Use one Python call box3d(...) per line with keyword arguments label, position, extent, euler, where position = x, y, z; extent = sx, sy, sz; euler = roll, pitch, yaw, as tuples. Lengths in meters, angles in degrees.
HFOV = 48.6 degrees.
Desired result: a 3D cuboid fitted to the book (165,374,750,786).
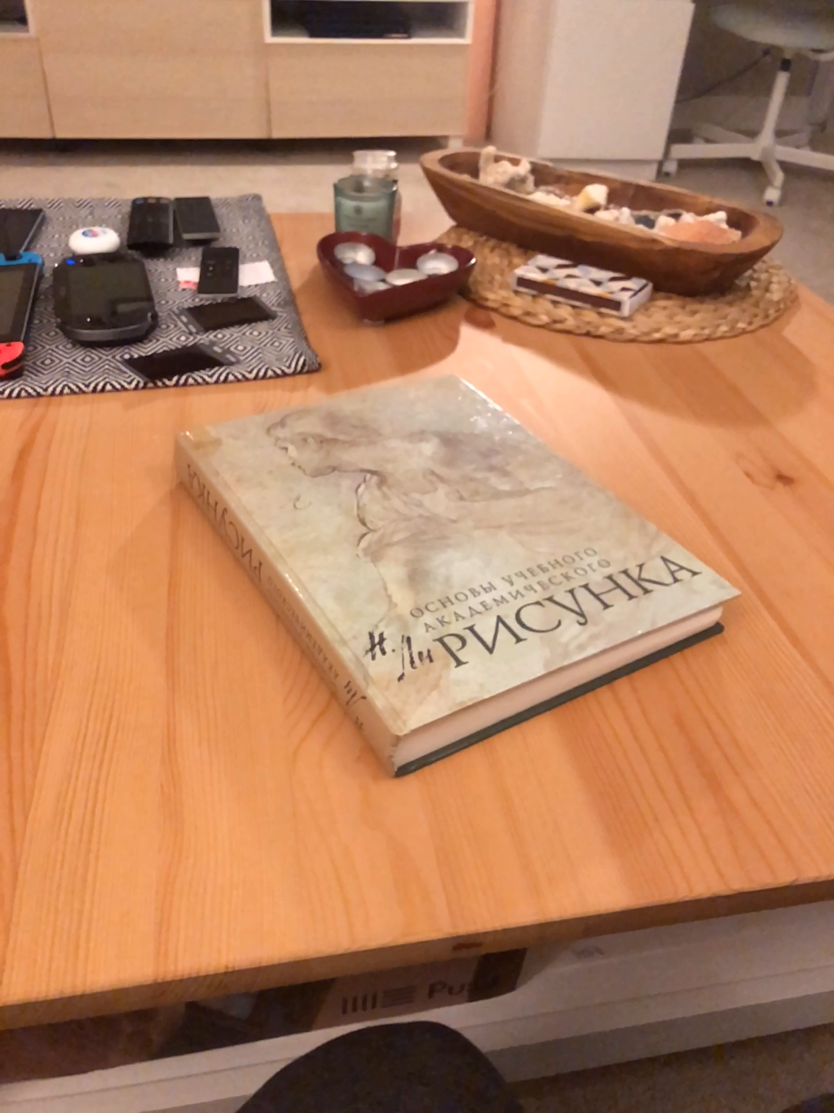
box3d(label="book", position=(0.009, -0.016, 0.526), extent=(0.215, 0.030, 0.272), euler=(-17, 42, -28))
